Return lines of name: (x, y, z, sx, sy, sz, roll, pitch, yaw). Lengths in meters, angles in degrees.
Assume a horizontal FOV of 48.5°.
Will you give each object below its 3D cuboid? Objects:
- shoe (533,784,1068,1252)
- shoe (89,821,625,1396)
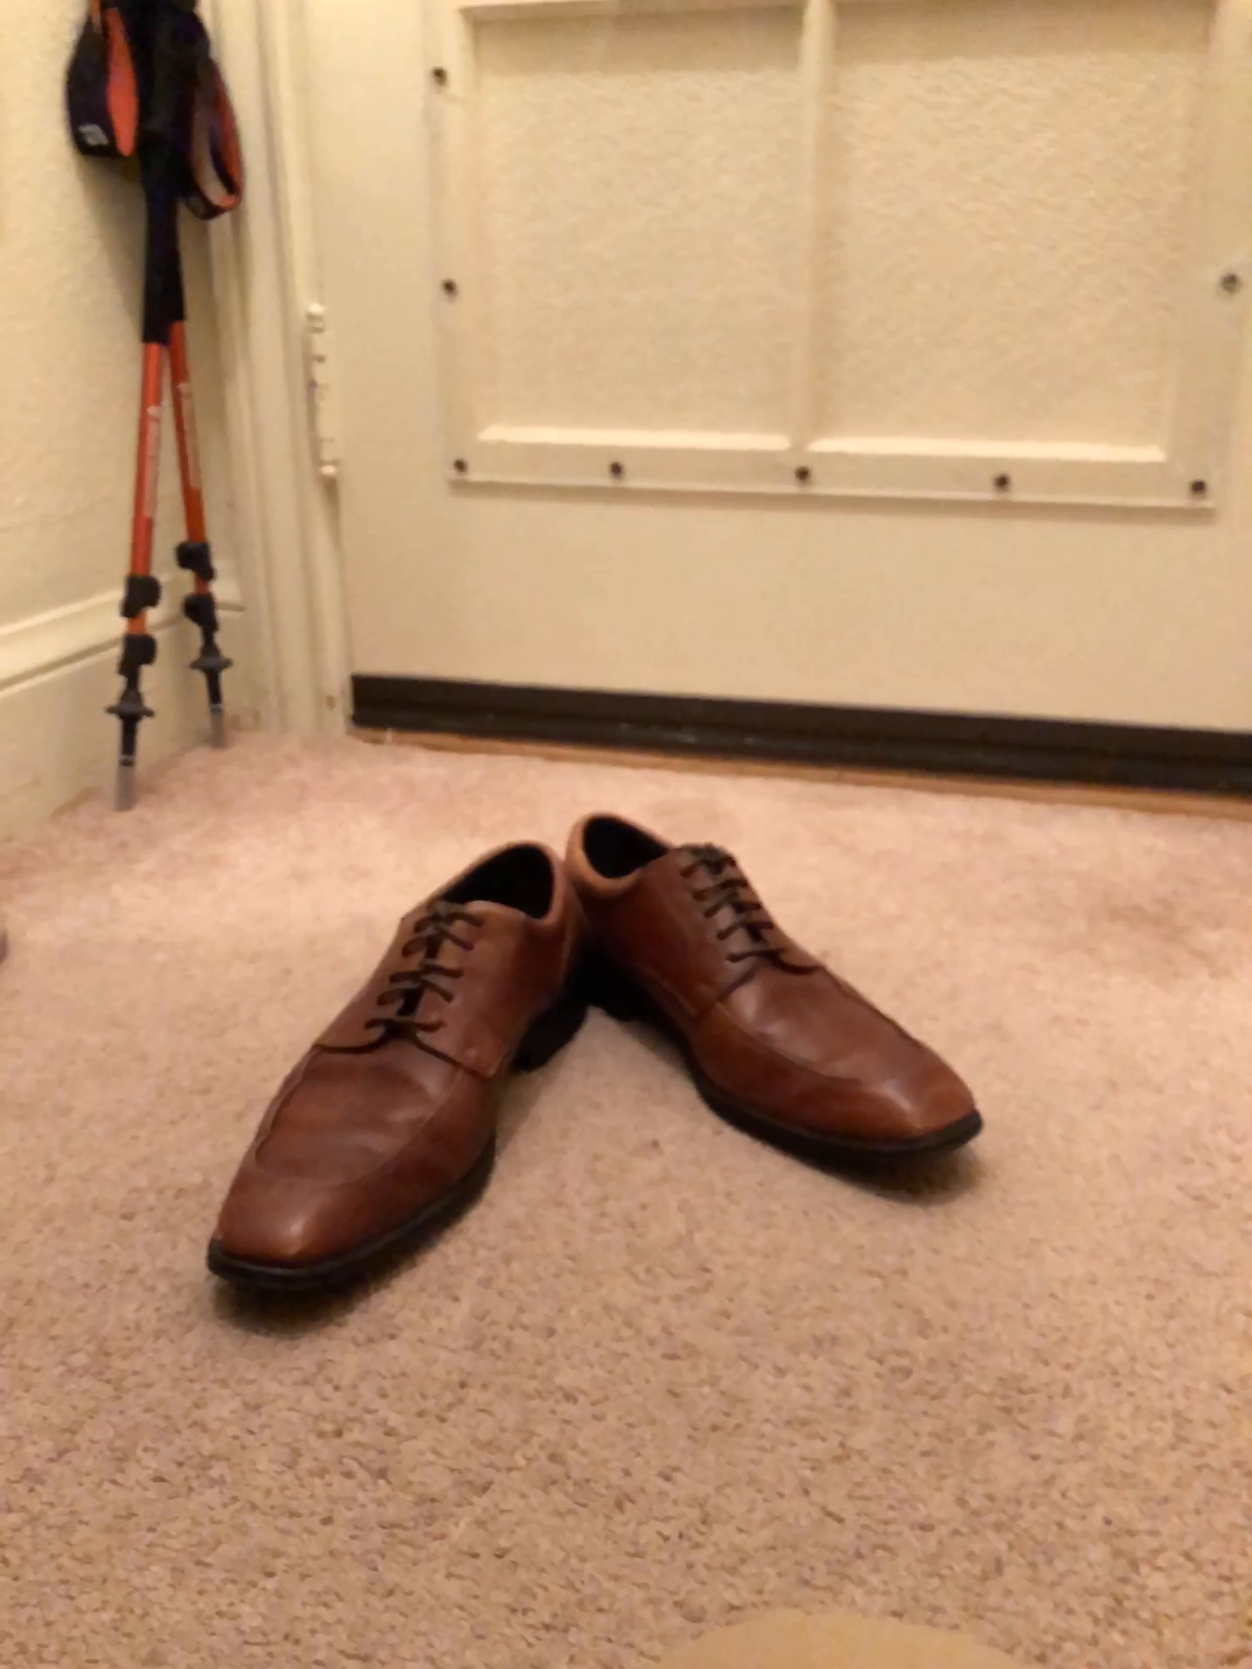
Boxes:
shoe: (0.072, 0.076, 0.733, 0.100, 0.109, 0.301, -14, 25, -32)
shoe: (-0.106, 0.108, 0.682, 0.120, 0.119, 0.301, 7, 23, 17)
